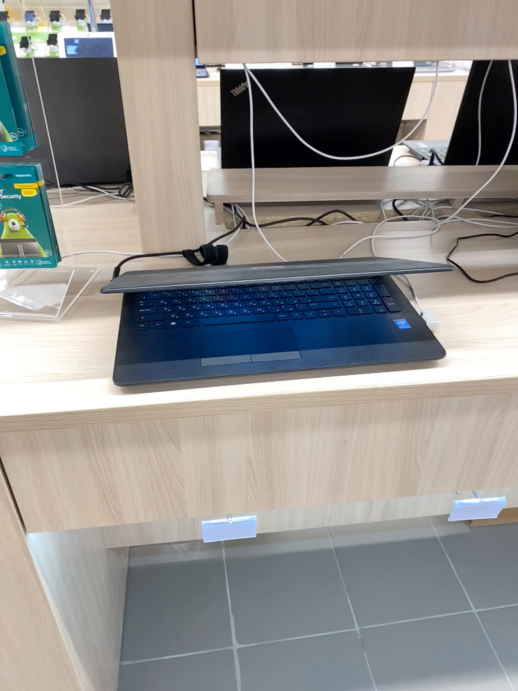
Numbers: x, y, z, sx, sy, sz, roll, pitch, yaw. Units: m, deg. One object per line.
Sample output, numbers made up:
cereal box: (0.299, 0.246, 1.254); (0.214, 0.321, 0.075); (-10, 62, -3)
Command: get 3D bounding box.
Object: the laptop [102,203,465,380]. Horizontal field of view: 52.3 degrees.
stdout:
laptop: (0.014, -0.084, 0.661); (0.372, 0.093, 0.252); (-4, 34, -7)
